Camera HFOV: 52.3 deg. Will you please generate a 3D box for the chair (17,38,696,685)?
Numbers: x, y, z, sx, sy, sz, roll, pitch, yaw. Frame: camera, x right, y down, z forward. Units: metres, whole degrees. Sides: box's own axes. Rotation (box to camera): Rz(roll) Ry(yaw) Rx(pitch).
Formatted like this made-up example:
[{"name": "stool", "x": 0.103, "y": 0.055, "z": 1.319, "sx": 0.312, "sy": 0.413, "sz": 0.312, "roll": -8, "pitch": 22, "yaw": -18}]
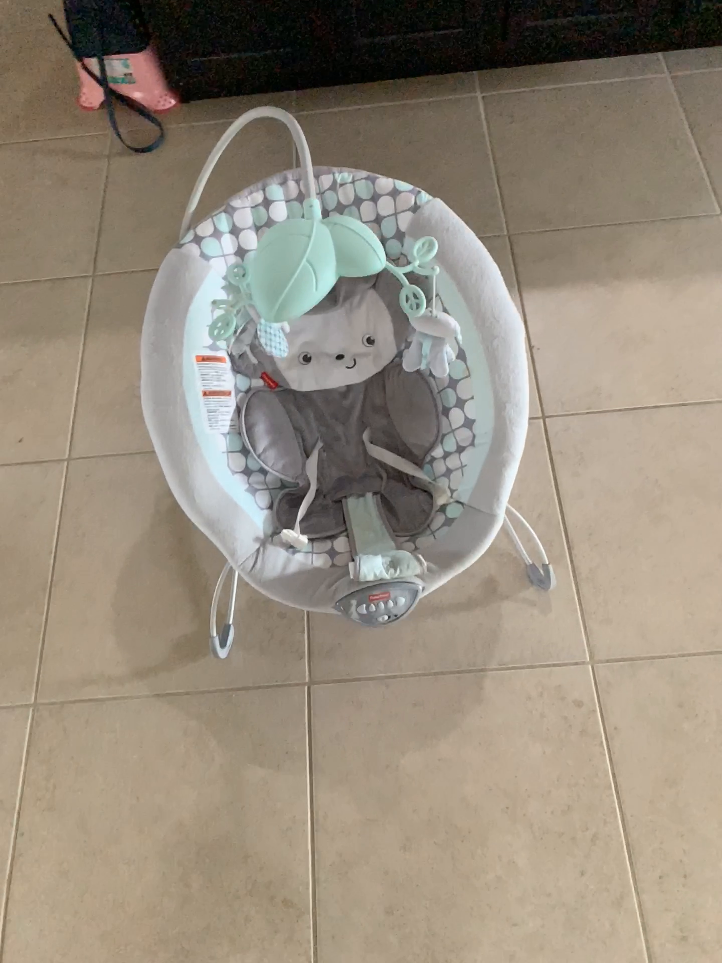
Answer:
[{"name": "chair", "x": -0.022, "y": -0.104, "z": 0.994, "sx": 0.571, "sy": 0.580, "sz": 0.547, "roll": -9, "pitch": 63, "yaw": 0}]
